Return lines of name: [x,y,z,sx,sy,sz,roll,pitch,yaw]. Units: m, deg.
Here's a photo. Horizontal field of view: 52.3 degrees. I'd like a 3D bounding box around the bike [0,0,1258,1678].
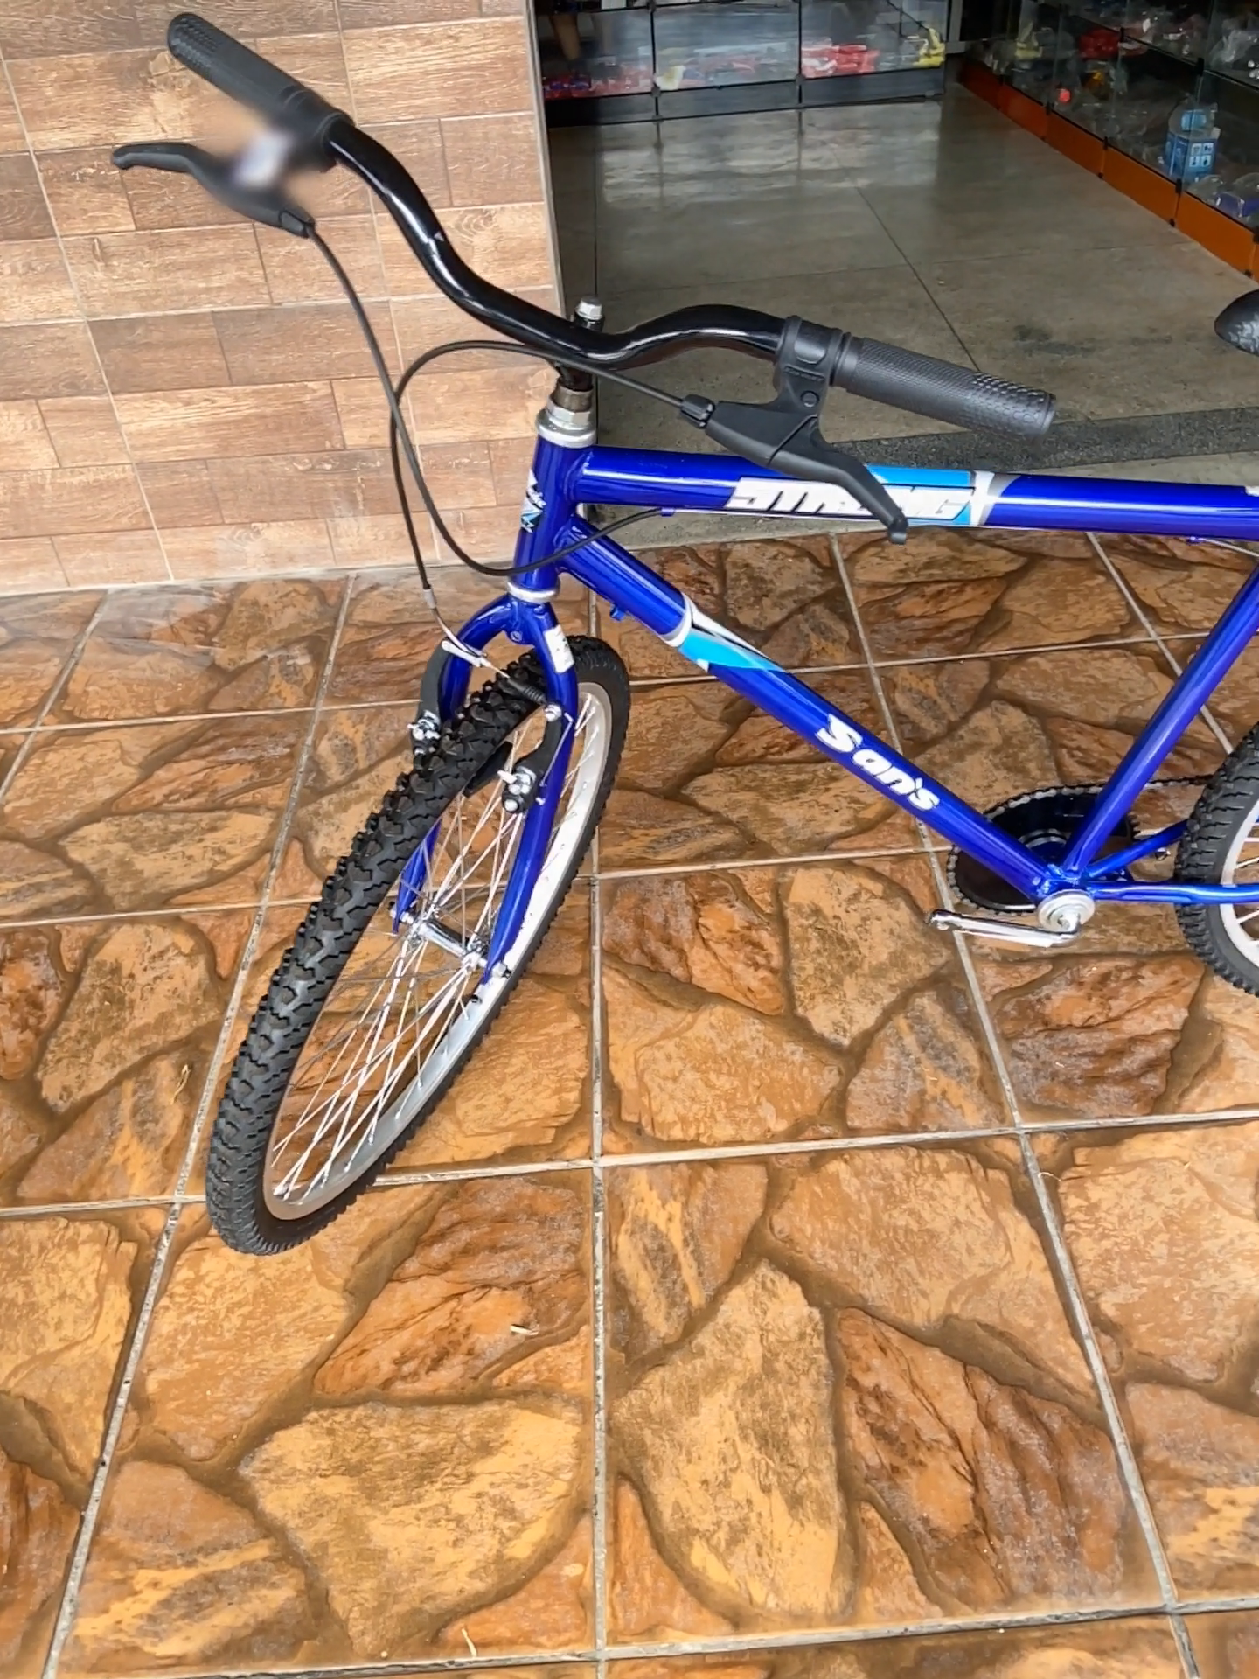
bike: [0.390,0.042,0.963,1.525,1.013,0.575,-15,39,-7]
